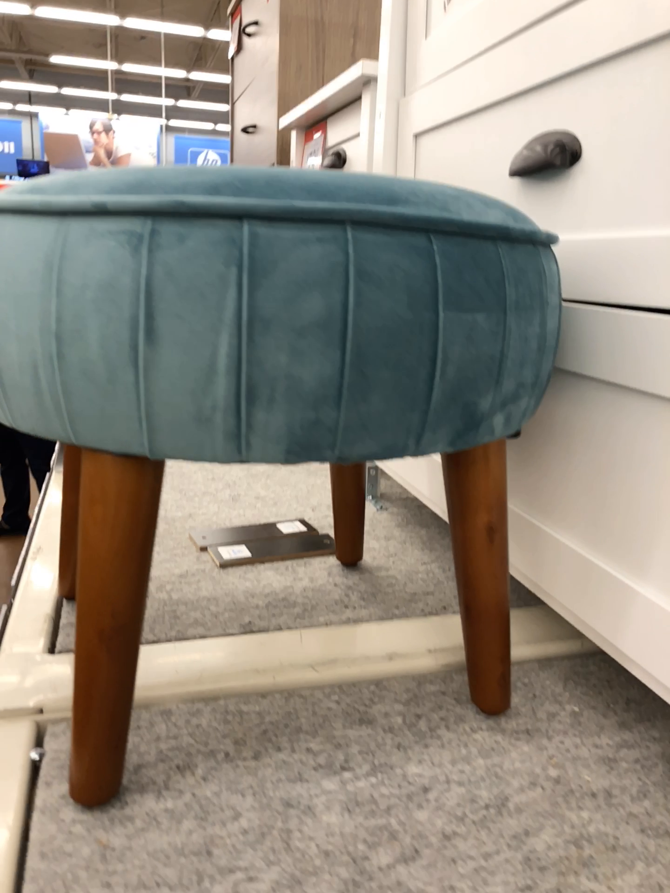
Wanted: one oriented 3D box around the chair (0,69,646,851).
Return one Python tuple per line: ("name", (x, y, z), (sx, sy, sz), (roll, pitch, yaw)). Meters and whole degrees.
("chair", (-0.061, -0.017, 0.585), (0.370, 0.399, 0.371), (-1, 14, -15))
